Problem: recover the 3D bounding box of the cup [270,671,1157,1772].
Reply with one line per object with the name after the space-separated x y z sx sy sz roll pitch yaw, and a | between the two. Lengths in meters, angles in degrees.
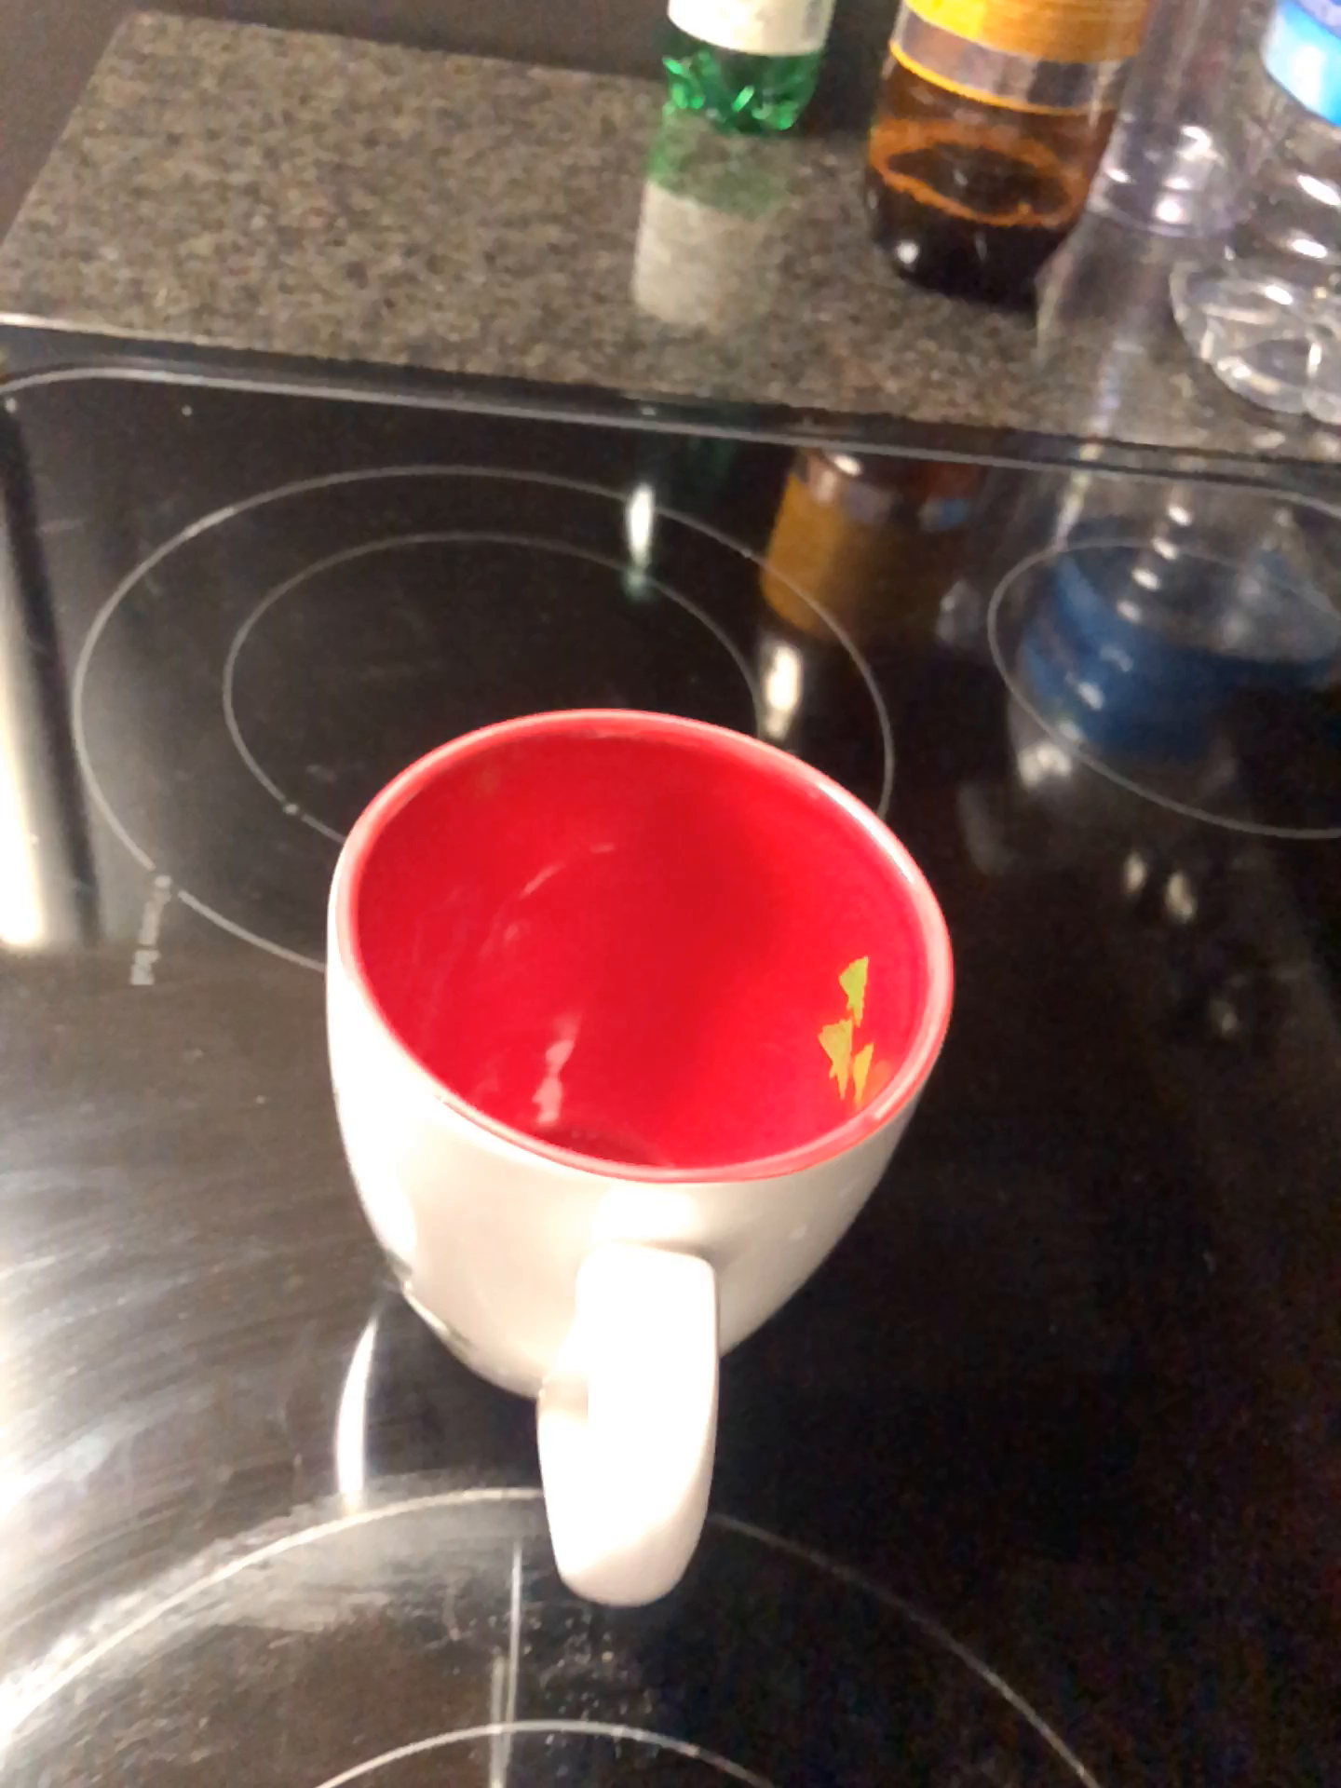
-0.007 0.050 0.250 0.100 0.100 0.141 2 46 -10 | cup
